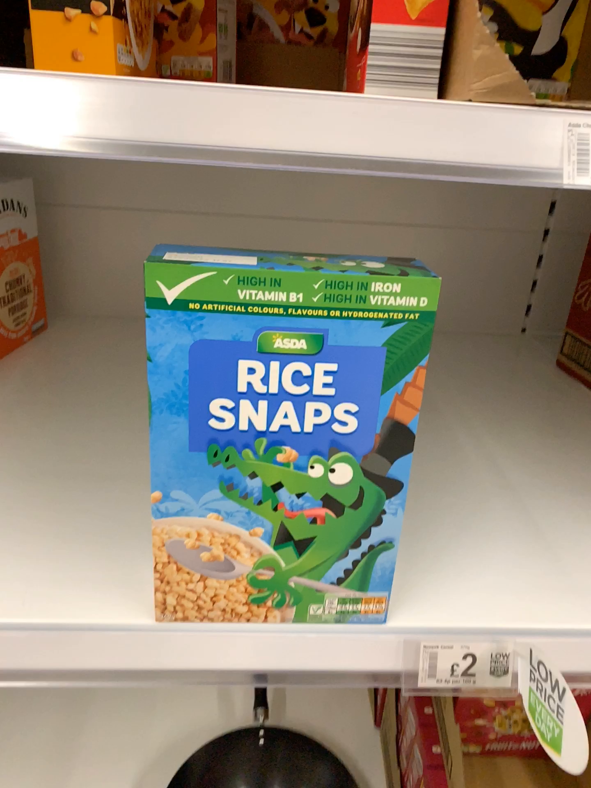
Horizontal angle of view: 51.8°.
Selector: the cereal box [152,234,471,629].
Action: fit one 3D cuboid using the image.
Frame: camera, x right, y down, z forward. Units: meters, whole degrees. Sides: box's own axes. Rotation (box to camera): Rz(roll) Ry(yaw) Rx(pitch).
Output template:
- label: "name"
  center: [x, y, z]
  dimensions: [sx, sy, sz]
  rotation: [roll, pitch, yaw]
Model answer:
- label: "cereal box"
  center: [0.000, 0.039, 0.451]
  dimensions: [0.190, 0.288, 0.071]
  rotation: [2, 25, -5]
